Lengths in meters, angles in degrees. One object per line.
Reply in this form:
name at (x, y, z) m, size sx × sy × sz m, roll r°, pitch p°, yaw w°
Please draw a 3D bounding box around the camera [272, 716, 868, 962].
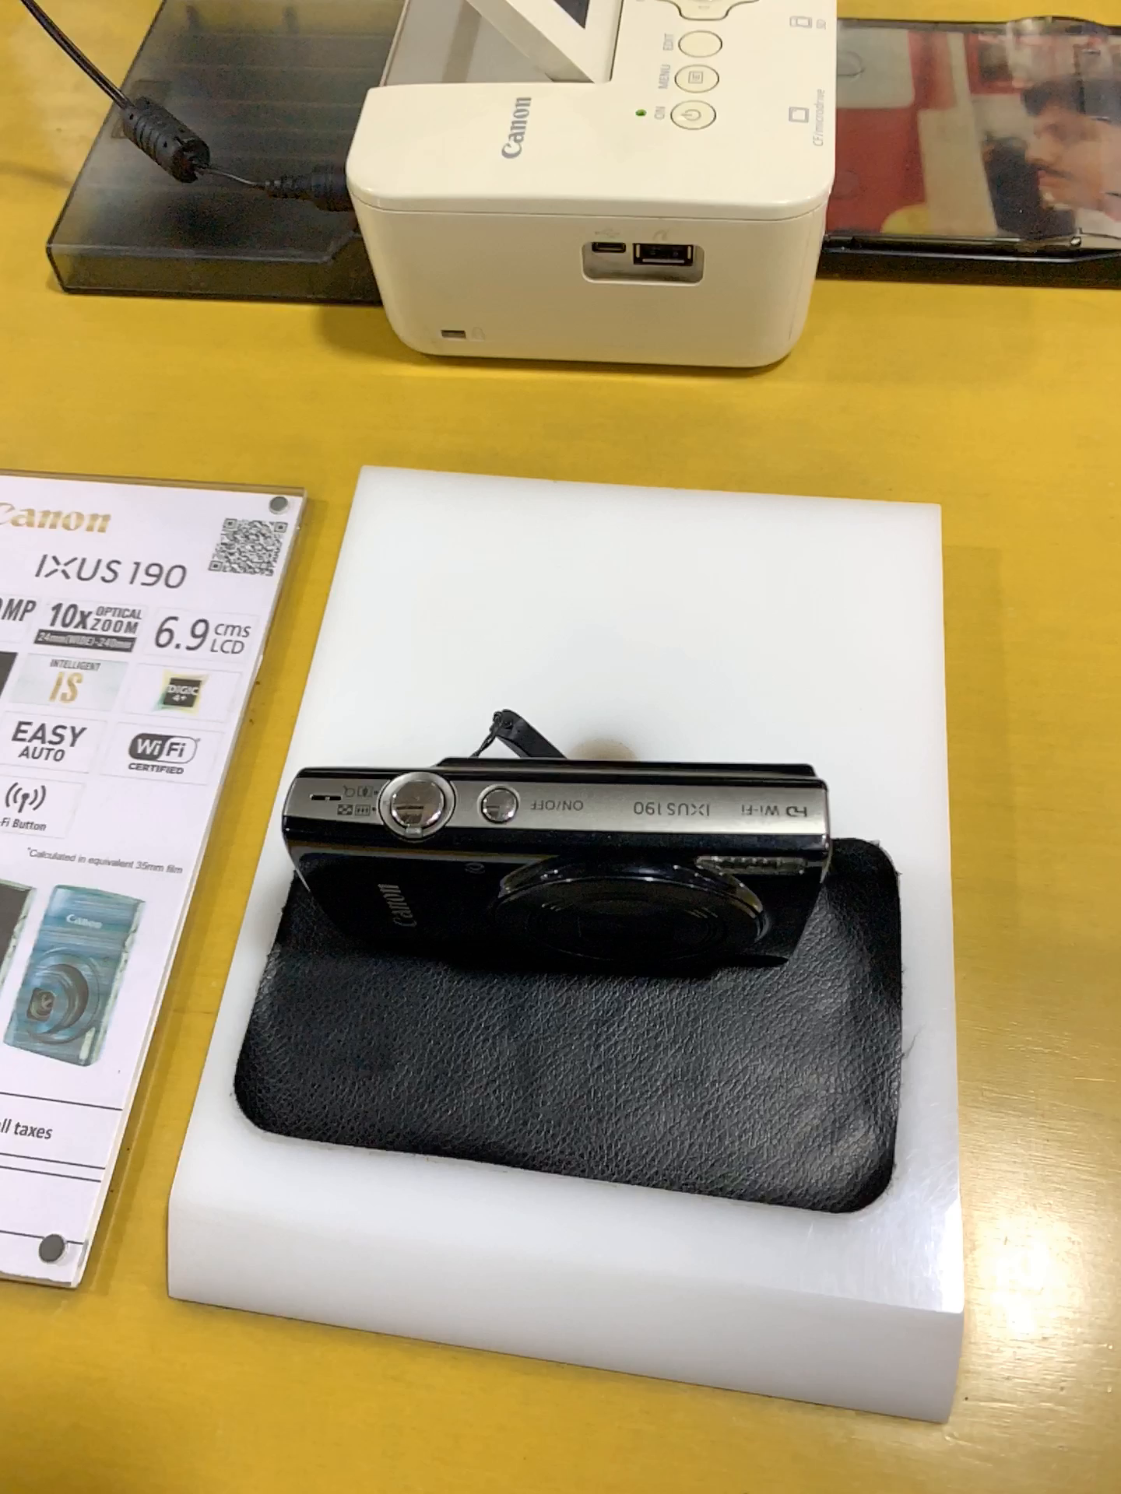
camera at (0.003, 0.018, 0.206) m, size 0.090 × 0.060 × 0.020 m, roll 1°, pitch 63°, yaw 4°
